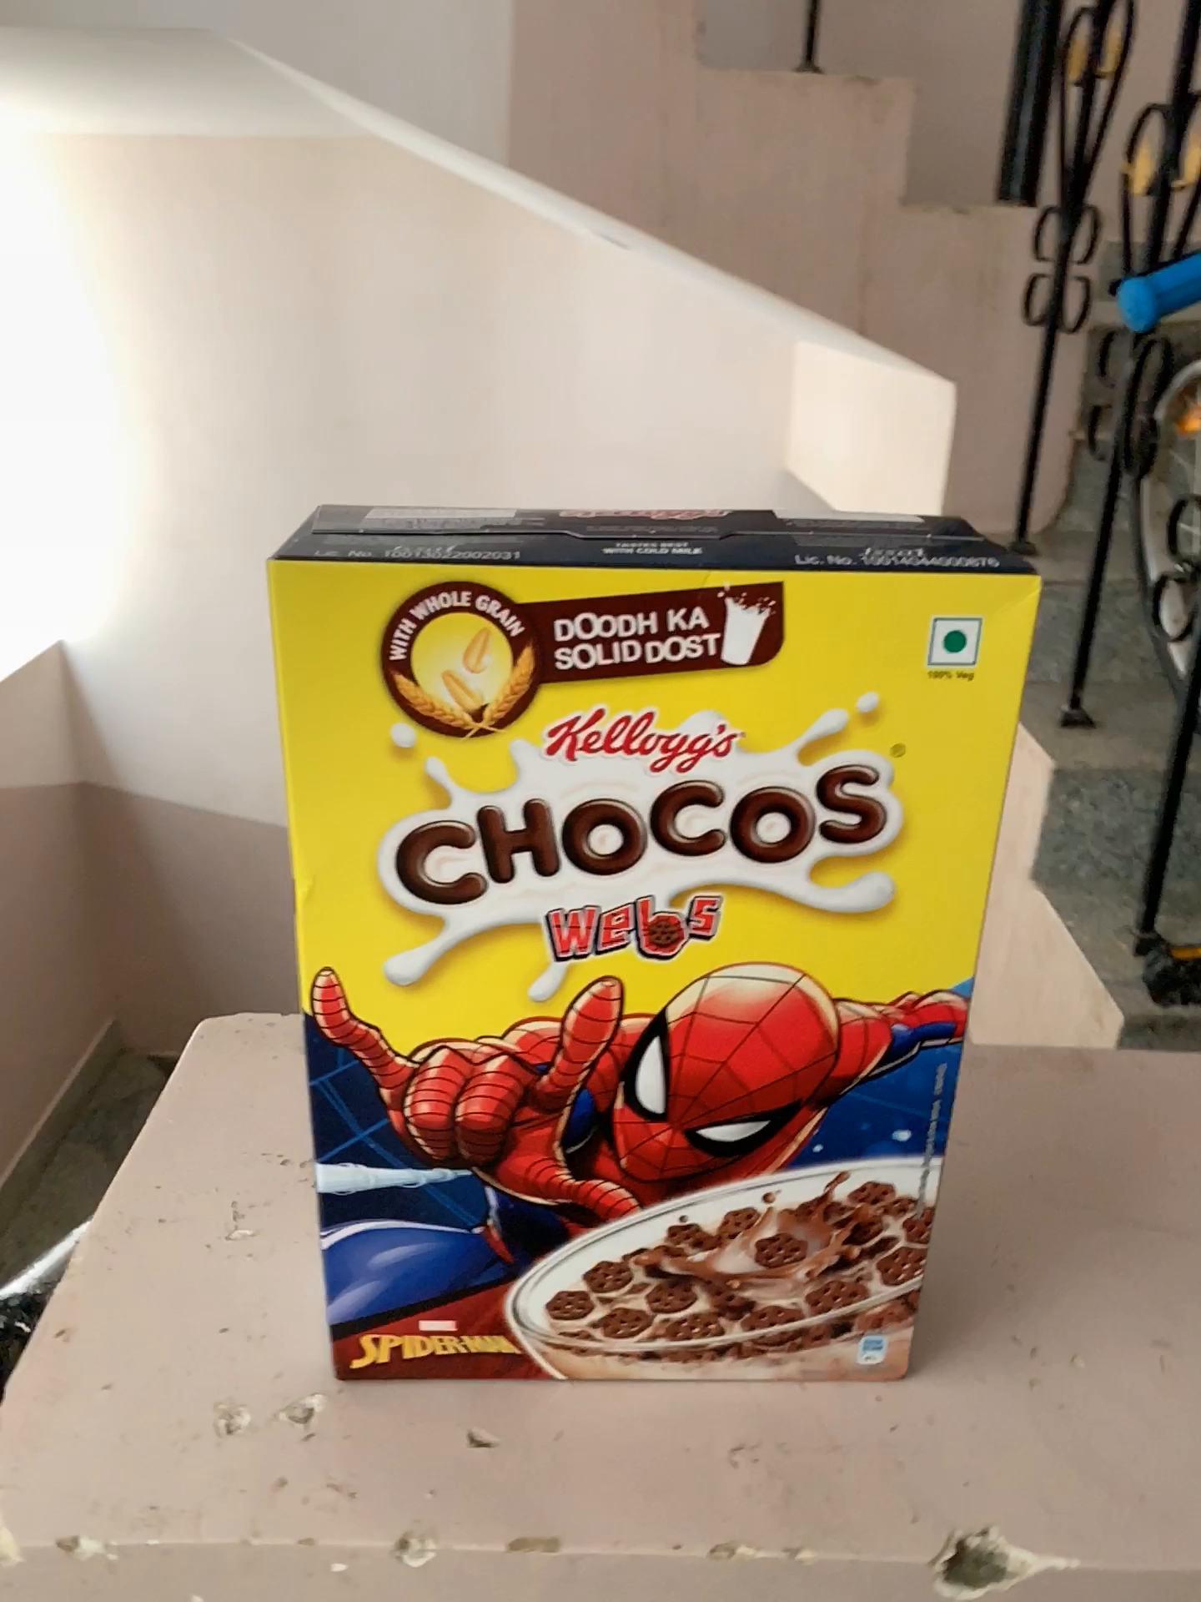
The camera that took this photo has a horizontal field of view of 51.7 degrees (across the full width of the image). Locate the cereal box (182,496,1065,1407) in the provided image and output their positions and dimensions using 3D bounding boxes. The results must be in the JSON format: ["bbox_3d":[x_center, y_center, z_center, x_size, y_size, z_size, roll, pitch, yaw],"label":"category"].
[{"bbox_3d":[0.003,0.048,0.347,0.190,0.248,0.071,0,23,-2],"label":"cereal box"}]
